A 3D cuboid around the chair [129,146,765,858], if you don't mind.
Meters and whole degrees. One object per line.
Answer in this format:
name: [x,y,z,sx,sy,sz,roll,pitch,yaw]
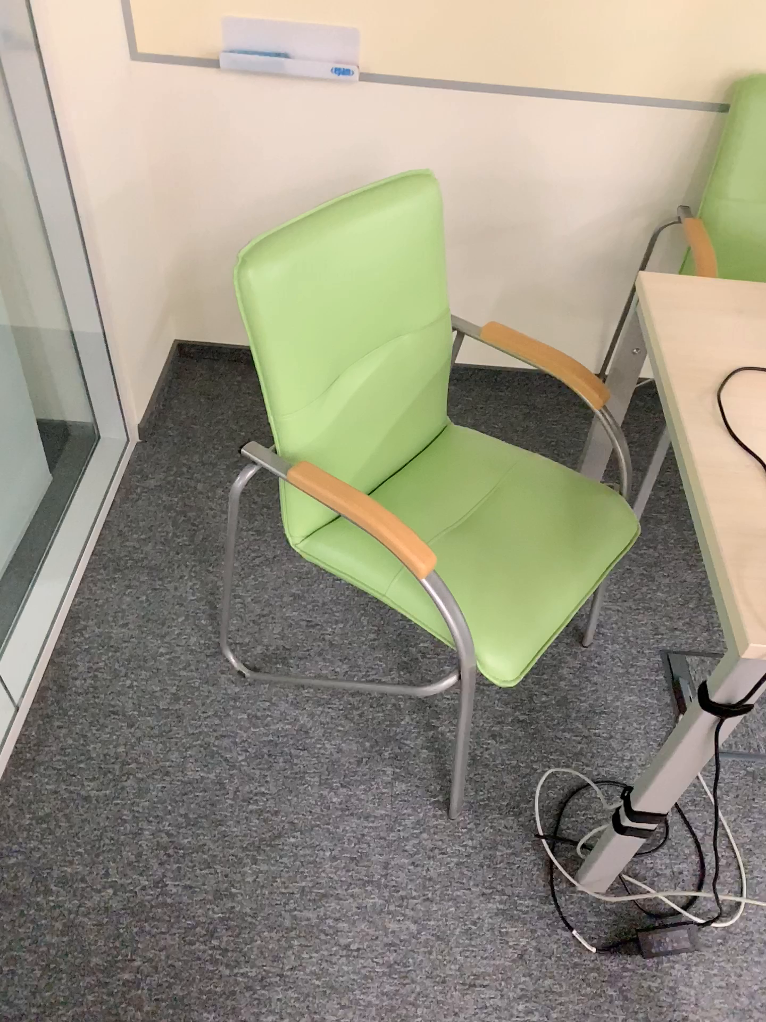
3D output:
chair: [0.092,-0.020,1.425,0.651,0.895,0.673,33,51,24]
